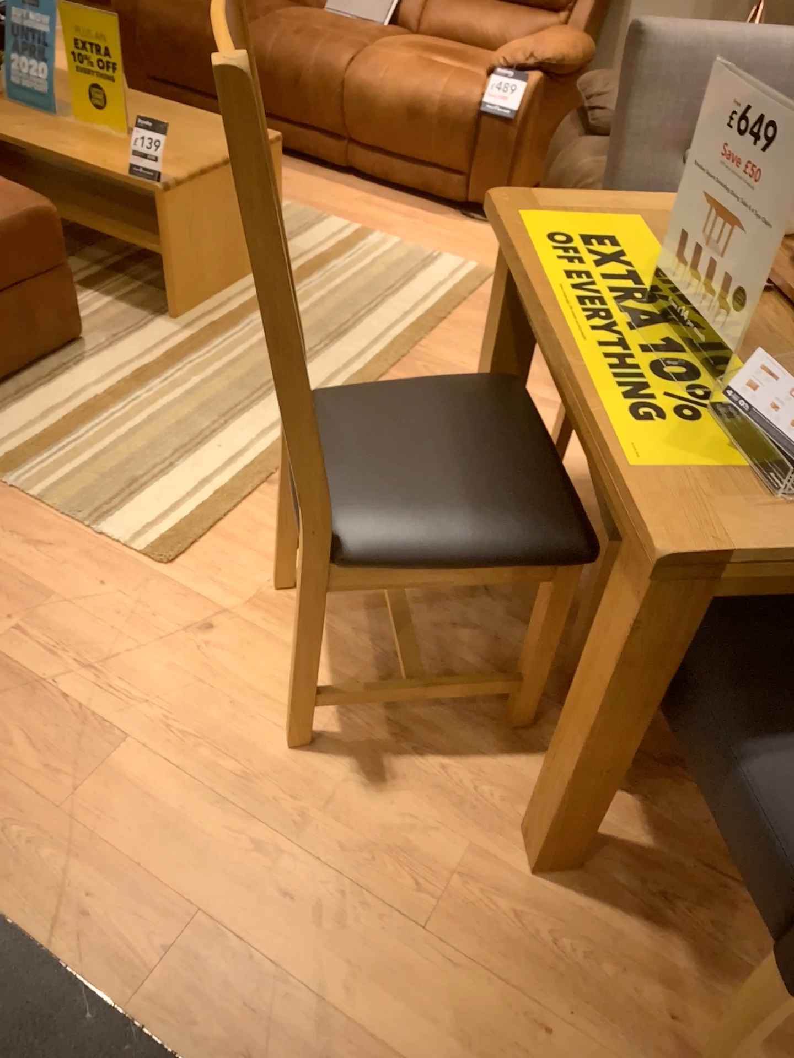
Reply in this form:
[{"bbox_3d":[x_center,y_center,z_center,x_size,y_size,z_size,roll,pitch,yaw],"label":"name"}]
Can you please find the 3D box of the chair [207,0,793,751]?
[{"bbox_3d":[0.057,-0.206,1.194,0.577,0.958,0.559,-4,45,-11],"label":"chair"}]
